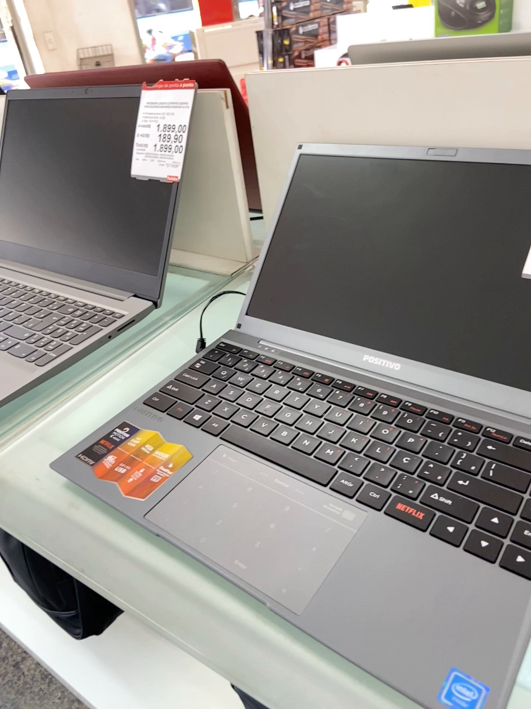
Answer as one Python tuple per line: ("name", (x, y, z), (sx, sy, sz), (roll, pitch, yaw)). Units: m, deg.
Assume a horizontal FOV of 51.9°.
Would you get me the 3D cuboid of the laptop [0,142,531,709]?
("laptop", (0.065, -0.026, 0.399), (0.334, 0.144, 0.368), (17, 41, 34))
